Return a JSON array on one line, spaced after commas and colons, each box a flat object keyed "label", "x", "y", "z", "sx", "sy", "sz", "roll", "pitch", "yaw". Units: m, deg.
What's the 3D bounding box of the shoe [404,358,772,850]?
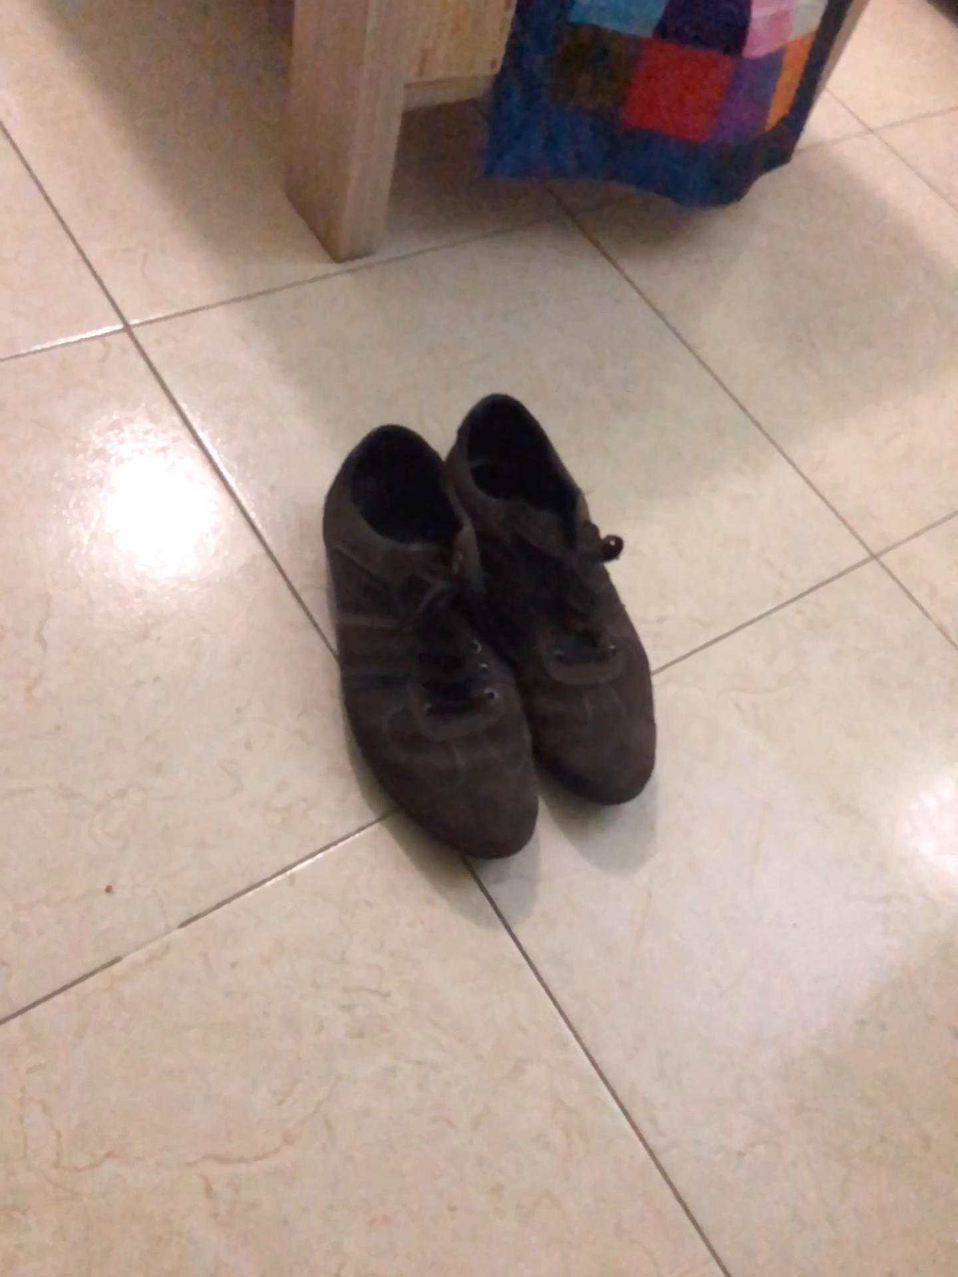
[{"label": "shoe", "x": 0.056, "y": -0.032, "z": 0.696, "sx": 0.110, "sy": 0.110, "sz": 0.300, "roll": -12, "pitch": 62, "yaw": -20}]

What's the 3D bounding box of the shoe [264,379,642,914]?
[{"label": "shoe", "x": -0.032, "y": -0.005, "z": 0.651, "sx": 0.120, "sy": 0.110, "sz": 0.300, "roll": -13, "pitch": 63, "yaw": -21}]
